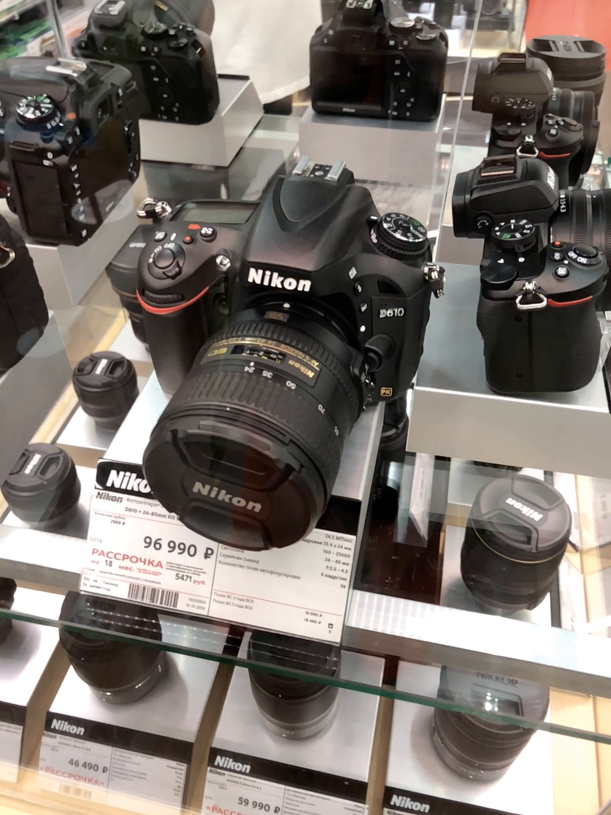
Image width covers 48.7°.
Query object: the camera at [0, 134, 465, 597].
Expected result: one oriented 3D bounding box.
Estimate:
[{"bbox_3d":[-0.024,-0.030,0.301,0.148,0.109,0.151,13,45,14],"label":"camera"}]
